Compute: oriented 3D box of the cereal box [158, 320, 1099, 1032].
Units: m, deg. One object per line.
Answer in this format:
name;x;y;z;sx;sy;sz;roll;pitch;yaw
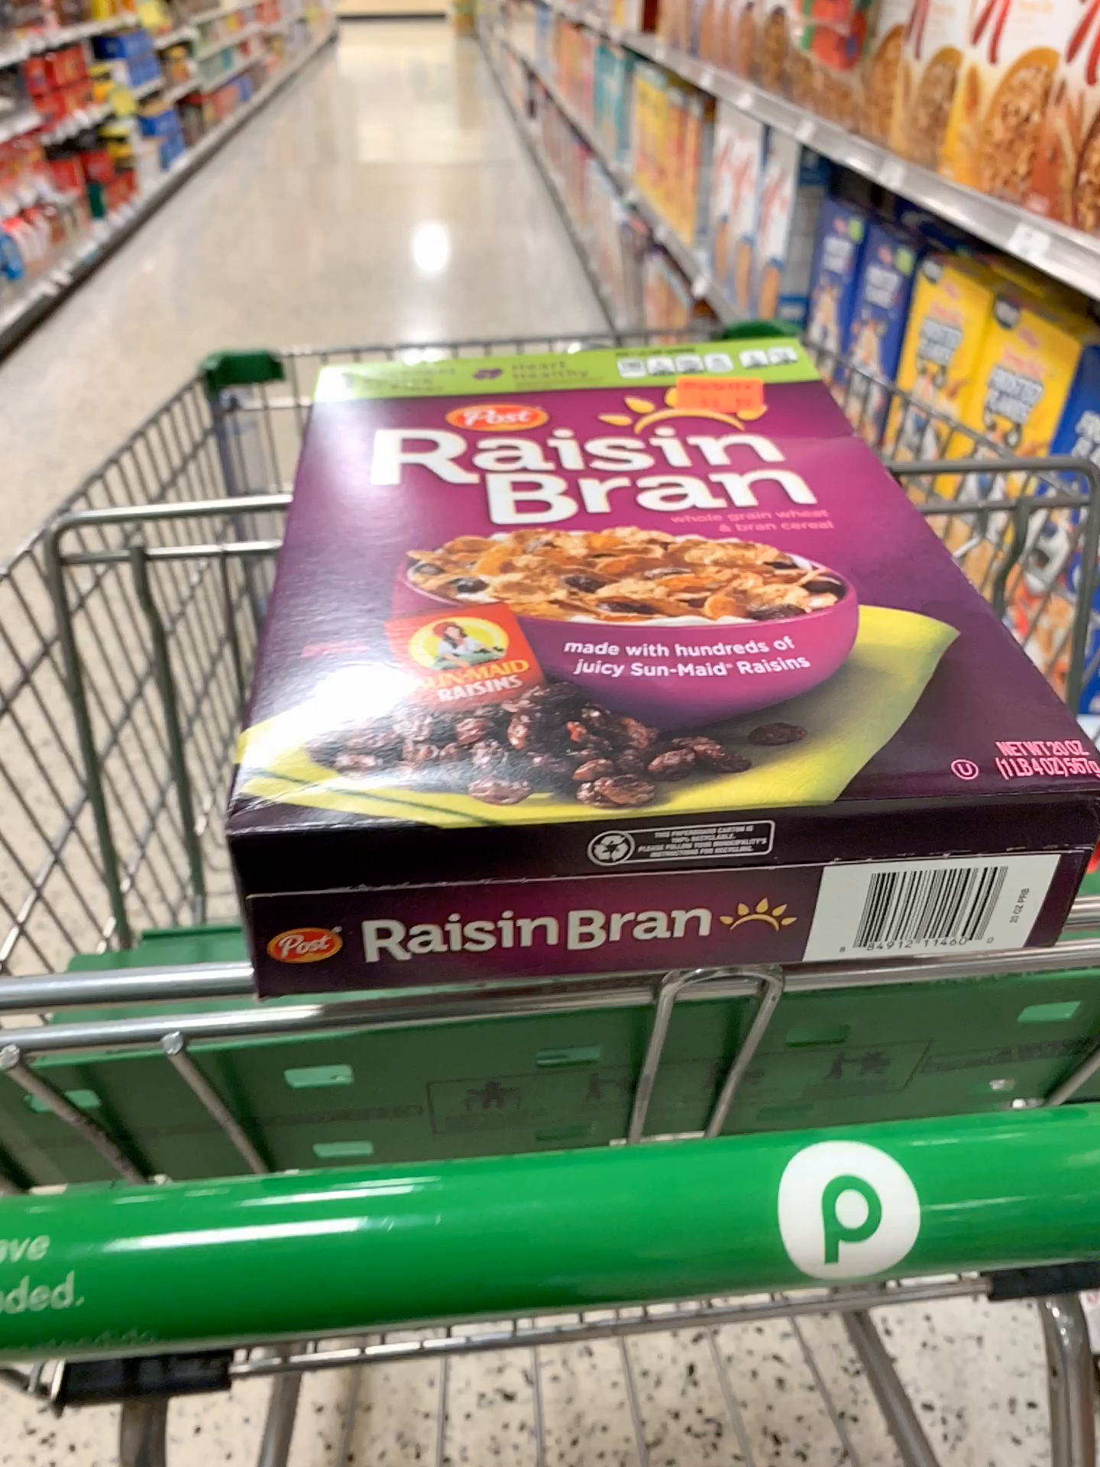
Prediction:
cereal box;0.018;-0.050;0.354;0.210;0.059;0.283;-4;37;-4
